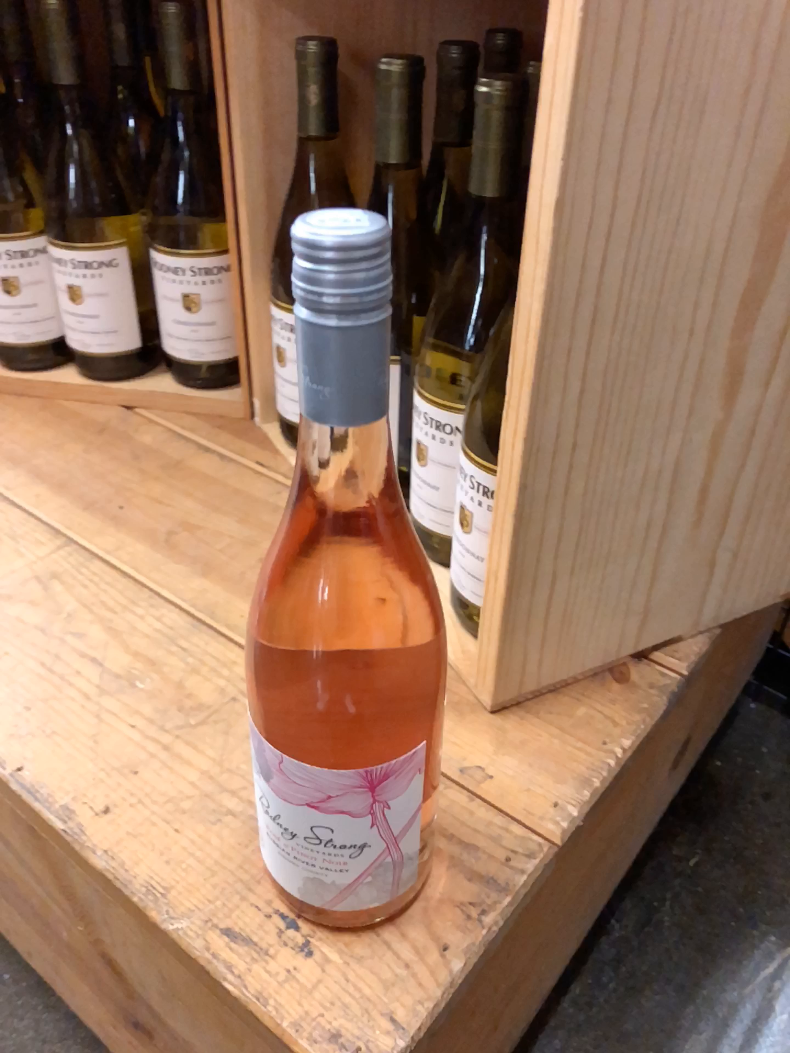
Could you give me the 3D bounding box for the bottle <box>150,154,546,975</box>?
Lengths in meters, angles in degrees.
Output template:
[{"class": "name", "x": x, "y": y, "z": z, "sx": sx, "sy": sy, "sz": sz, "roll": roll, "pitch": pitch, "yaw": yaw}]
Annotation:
[{"class": "bottle", "x": -0.014, "y": 0.035, "z": 0.333, "sx": 0.080, "sy": 0.309, "sz": 0.082, "roll": 1, "pitch": 35, "yaw": -1}]
